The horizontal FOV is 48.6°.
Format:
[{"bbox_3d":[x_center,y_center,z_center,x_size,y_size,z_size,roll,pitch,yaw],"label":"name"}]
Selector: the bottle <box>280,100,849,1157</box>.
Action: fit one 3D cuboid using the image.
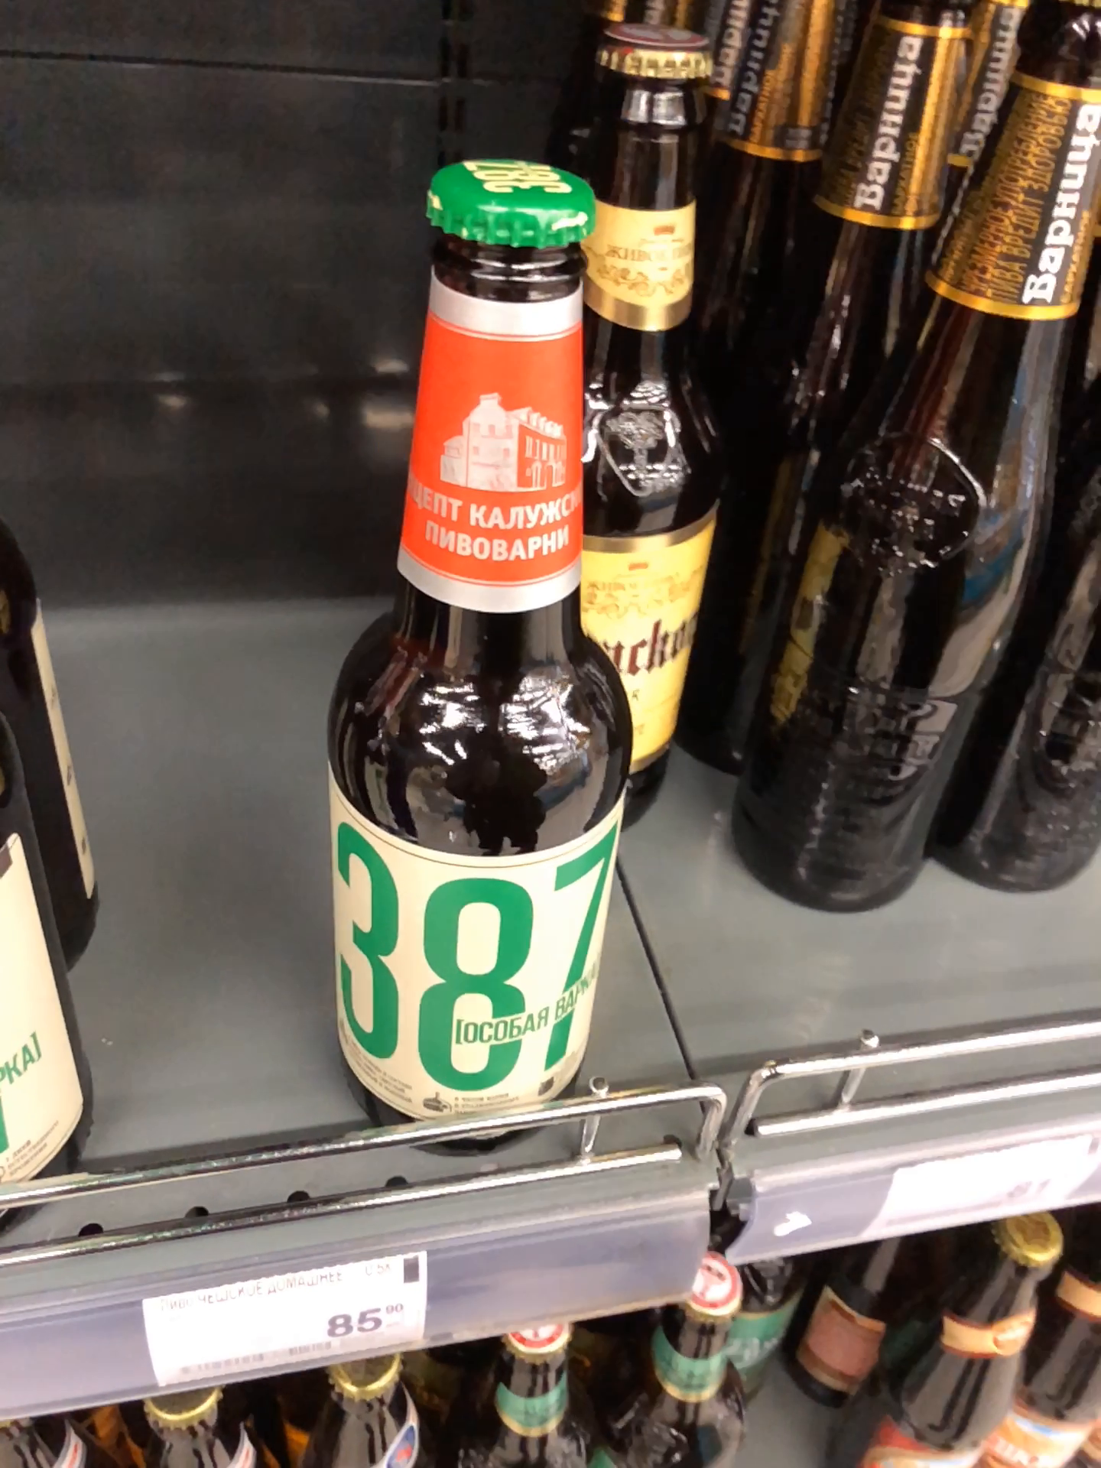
[{"bbox_3d":[-0.009,-0.002,0.269,0.080,0.229,0.070,2,39,-6],"label":"bottle"}]
